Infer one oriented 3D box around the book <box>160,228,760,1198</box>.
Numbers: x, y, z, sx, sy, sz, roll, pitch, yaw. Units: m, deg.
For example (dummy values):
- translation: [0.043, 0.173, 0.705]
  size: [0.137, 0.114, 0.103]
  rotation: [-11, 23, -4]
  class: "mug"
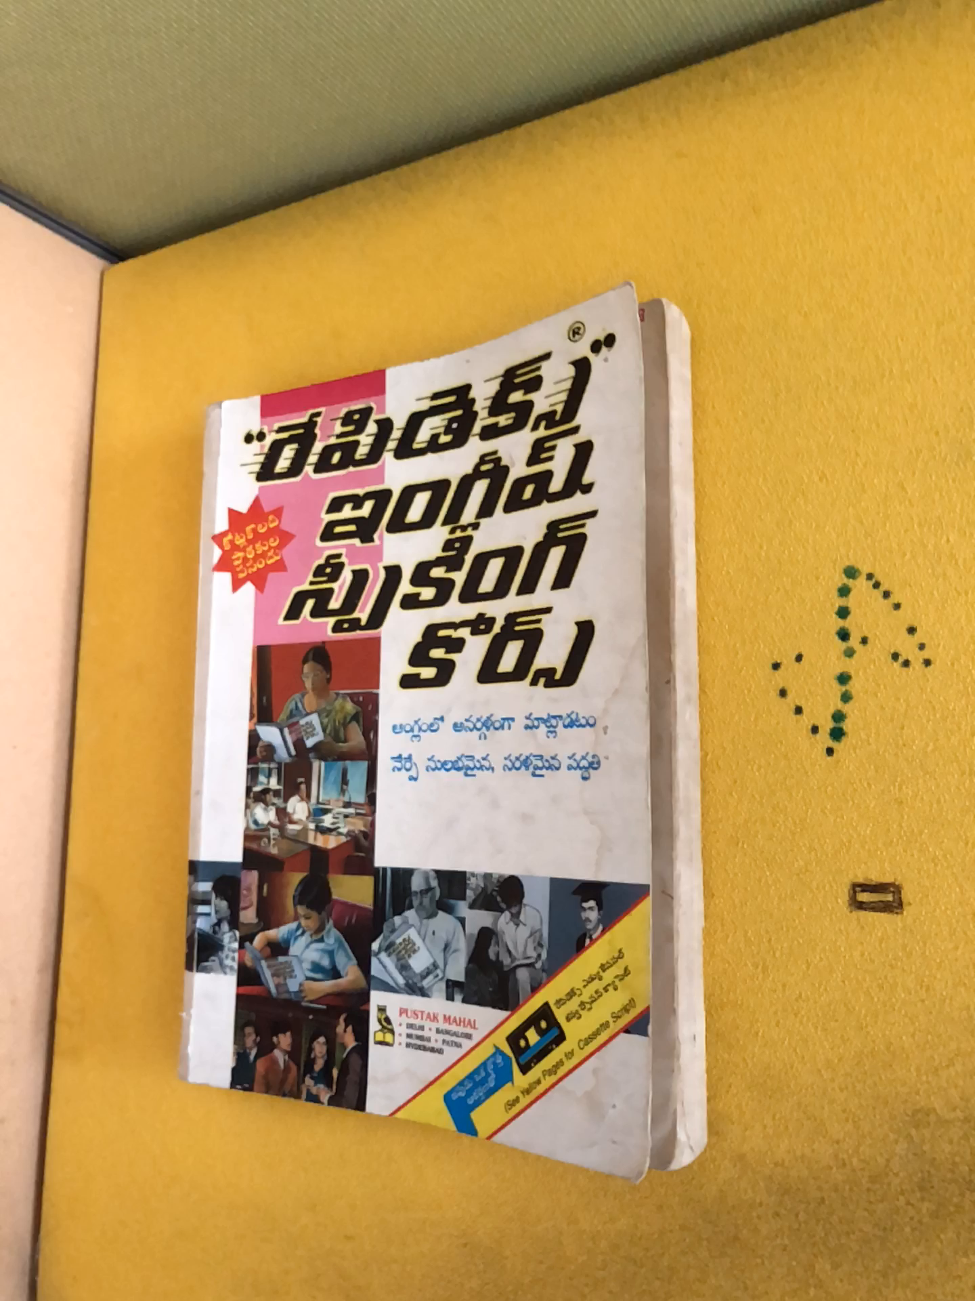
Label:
- translation: [-0.017, 0.016, 0.340]
  size: [0.191, 0.030, 0.250]
  rotation: [-5, 80, 30]
  class: "book"
